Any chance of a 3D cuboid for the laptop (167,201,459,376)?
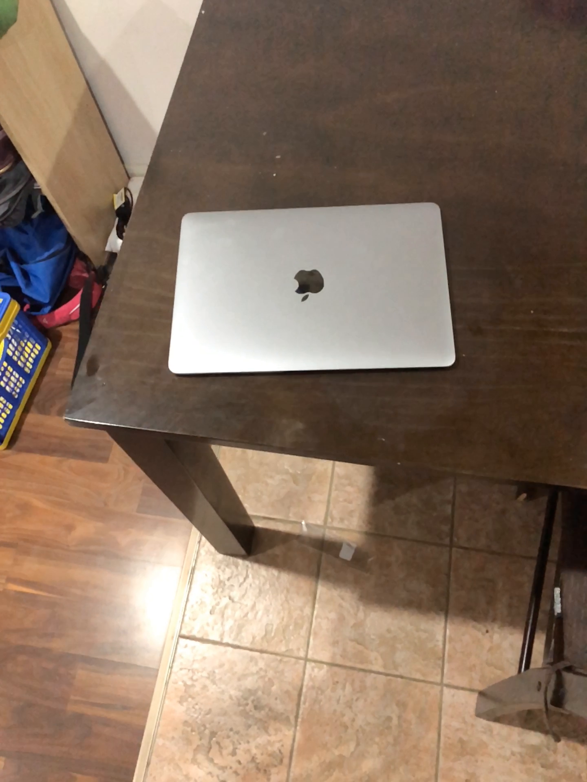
[{"bbox_3d":[0.018,-0.108,0.651,0.275,0.002,0.196,-2,65,2],"label":"laptop"}]
